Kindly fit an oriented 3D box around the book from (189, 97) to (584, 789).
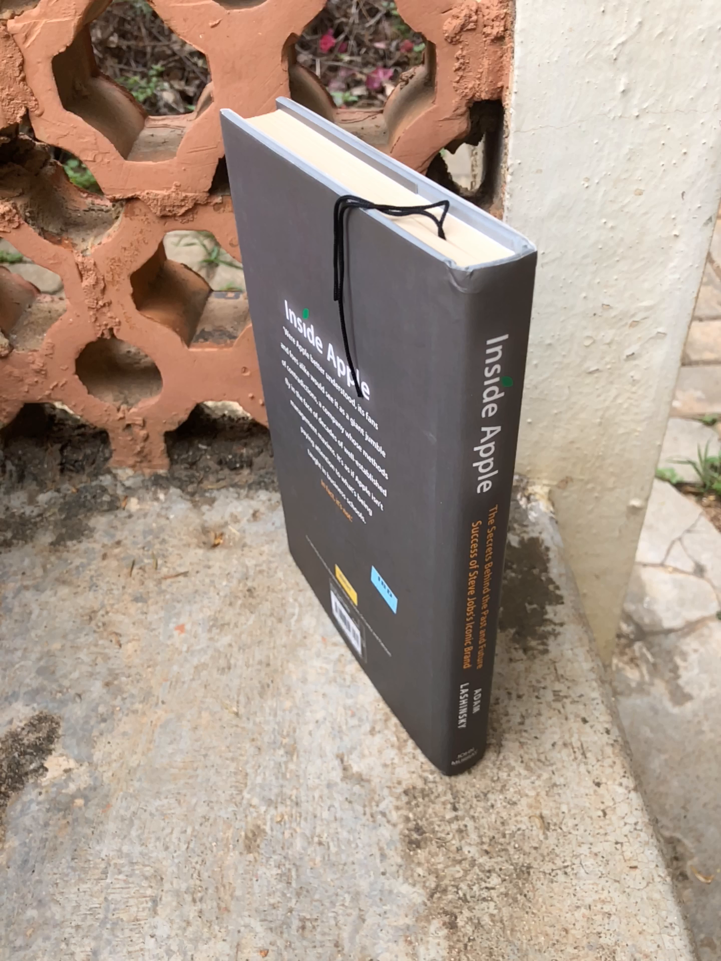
[{"bbox_3d":[0.003,-0.012,0.318,0.040,0.219,0.171,-23,44,-19],"label":"book"}]
